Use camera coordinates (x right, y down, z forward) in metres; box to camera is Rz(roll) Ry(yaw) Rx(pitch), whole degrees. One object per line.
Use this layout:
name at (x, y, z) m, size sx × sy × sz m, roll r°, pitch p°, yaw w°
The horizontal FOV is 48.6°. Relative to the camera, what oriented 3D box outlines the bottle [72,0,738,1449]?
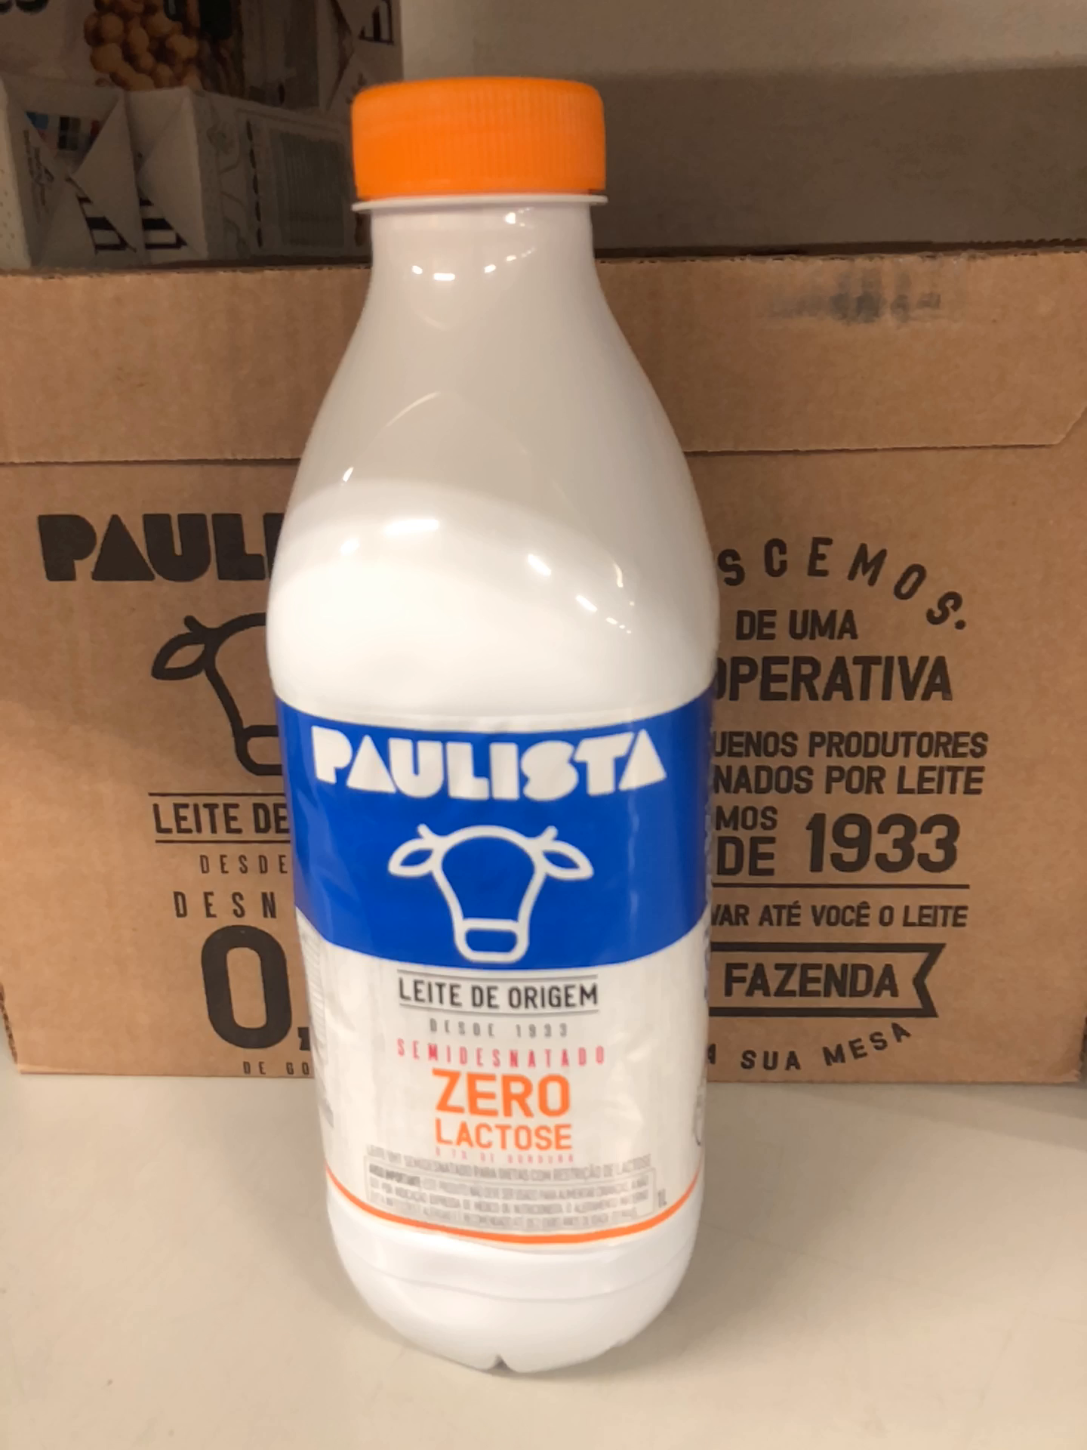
bottle at (-0.009, 0.008, 0.219) m, size 0.080 × 0.229 × 0.080 m, roll -2°, pitch 21°, yaw 1°
